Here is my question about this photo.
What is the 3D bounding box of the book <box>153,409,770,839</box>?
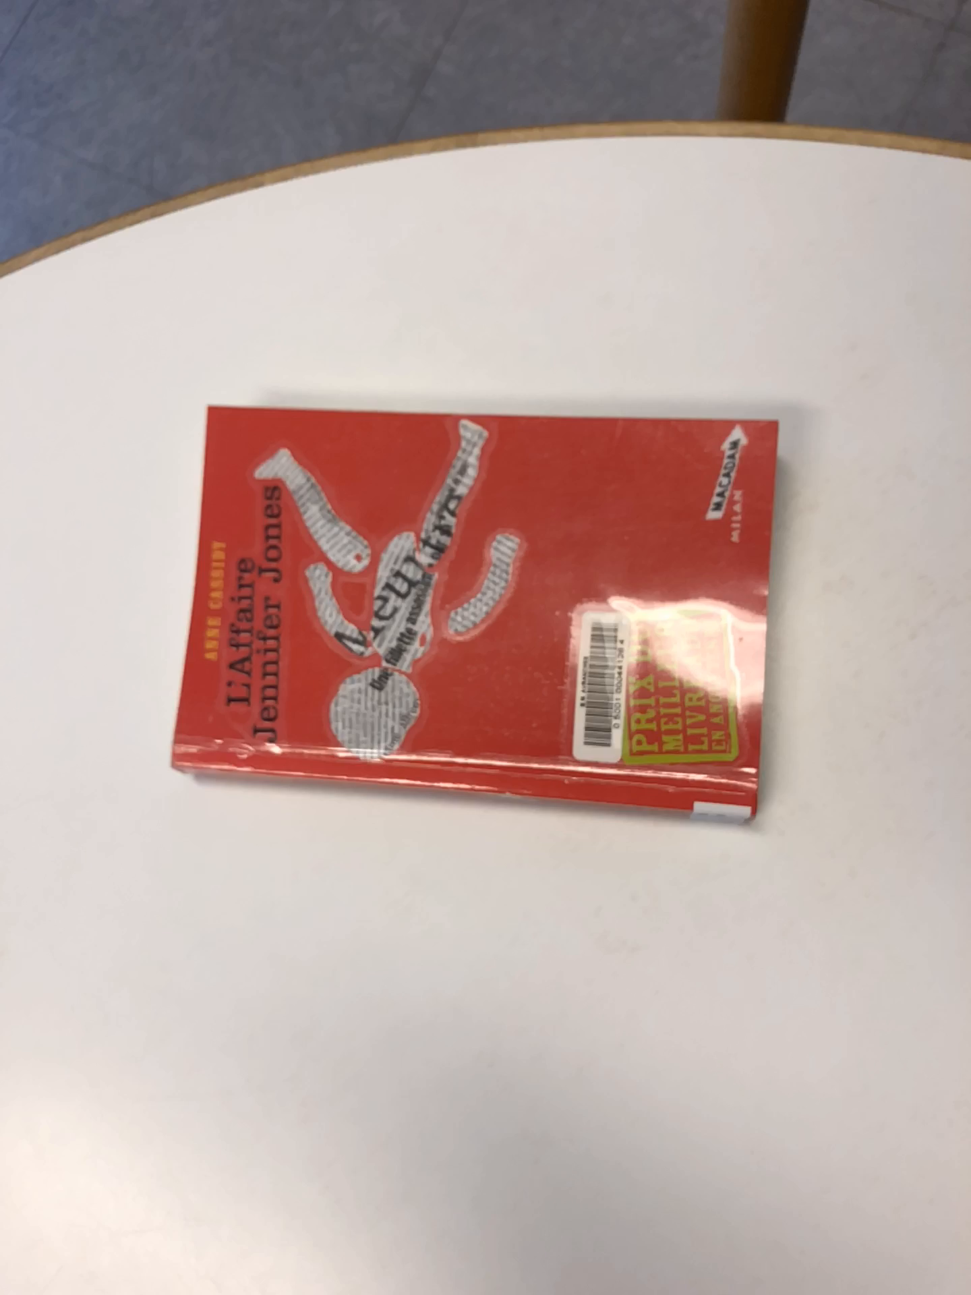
[{"bbox_3d":[-0.009,-0.011,0.381,0.202,0.028,0.136,3,84,8],"label":"book"}]
